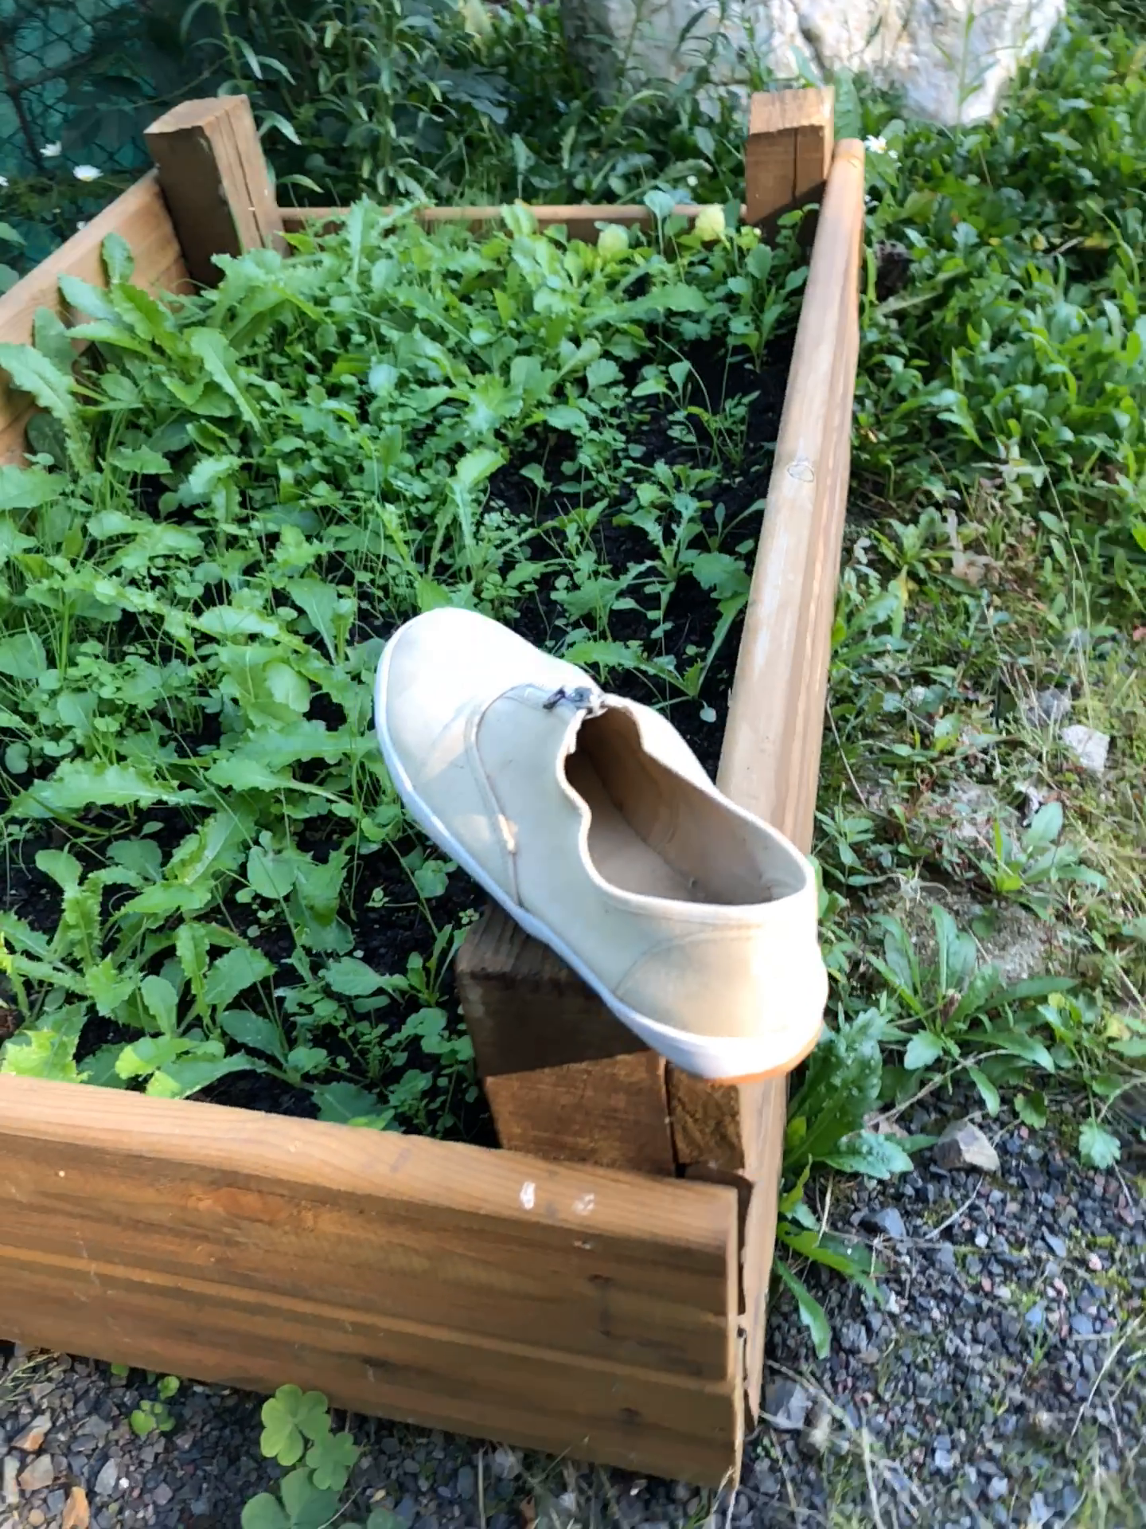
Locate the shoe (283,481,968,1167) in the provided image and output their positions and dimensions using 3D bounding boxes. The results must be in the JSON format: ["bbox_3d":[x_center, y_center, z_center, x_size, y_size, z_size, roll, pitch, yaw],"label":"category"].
[{"bbox_3d":[0.003,0.001,0.460,0.110,0.070,0.261,-26,48,-21],"label":"shoe"}]
